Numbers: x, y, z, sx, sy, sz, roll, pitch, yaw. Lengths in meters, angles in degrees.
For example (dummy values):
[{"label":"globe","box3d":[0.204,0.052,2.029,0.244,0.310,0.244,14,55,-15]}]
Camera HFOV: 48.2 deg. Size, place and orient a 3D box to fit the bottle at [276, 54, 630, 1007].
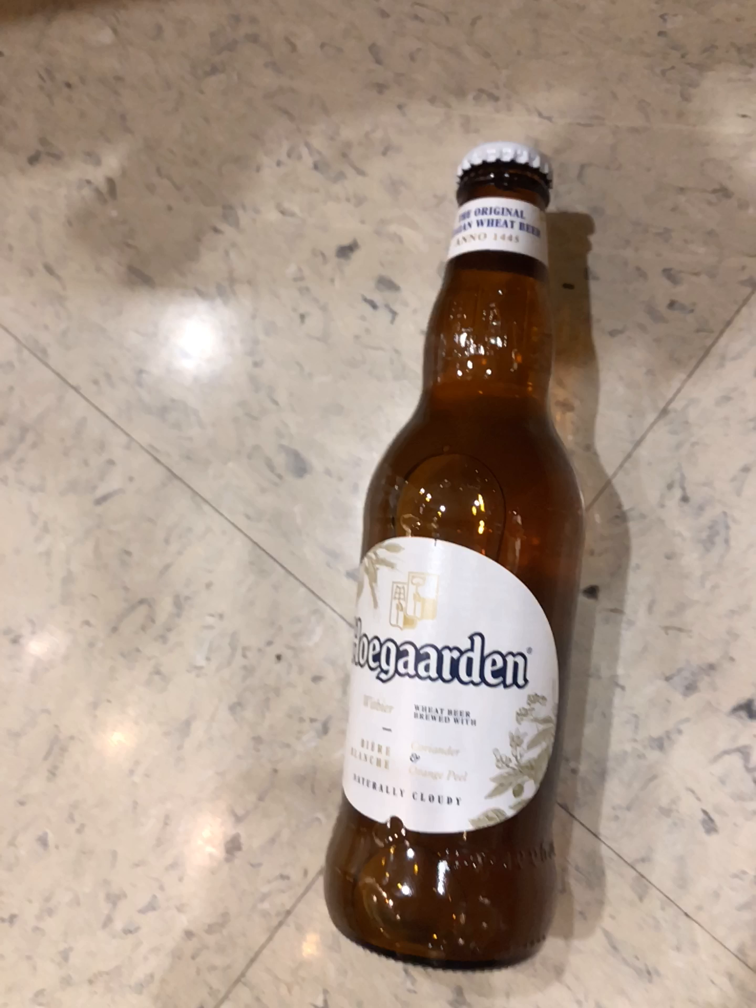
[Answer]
[{"label":"bottle","box3d":[0.026,0.001,0.236,0.070,0.050,0.230,3,83,19]}]
